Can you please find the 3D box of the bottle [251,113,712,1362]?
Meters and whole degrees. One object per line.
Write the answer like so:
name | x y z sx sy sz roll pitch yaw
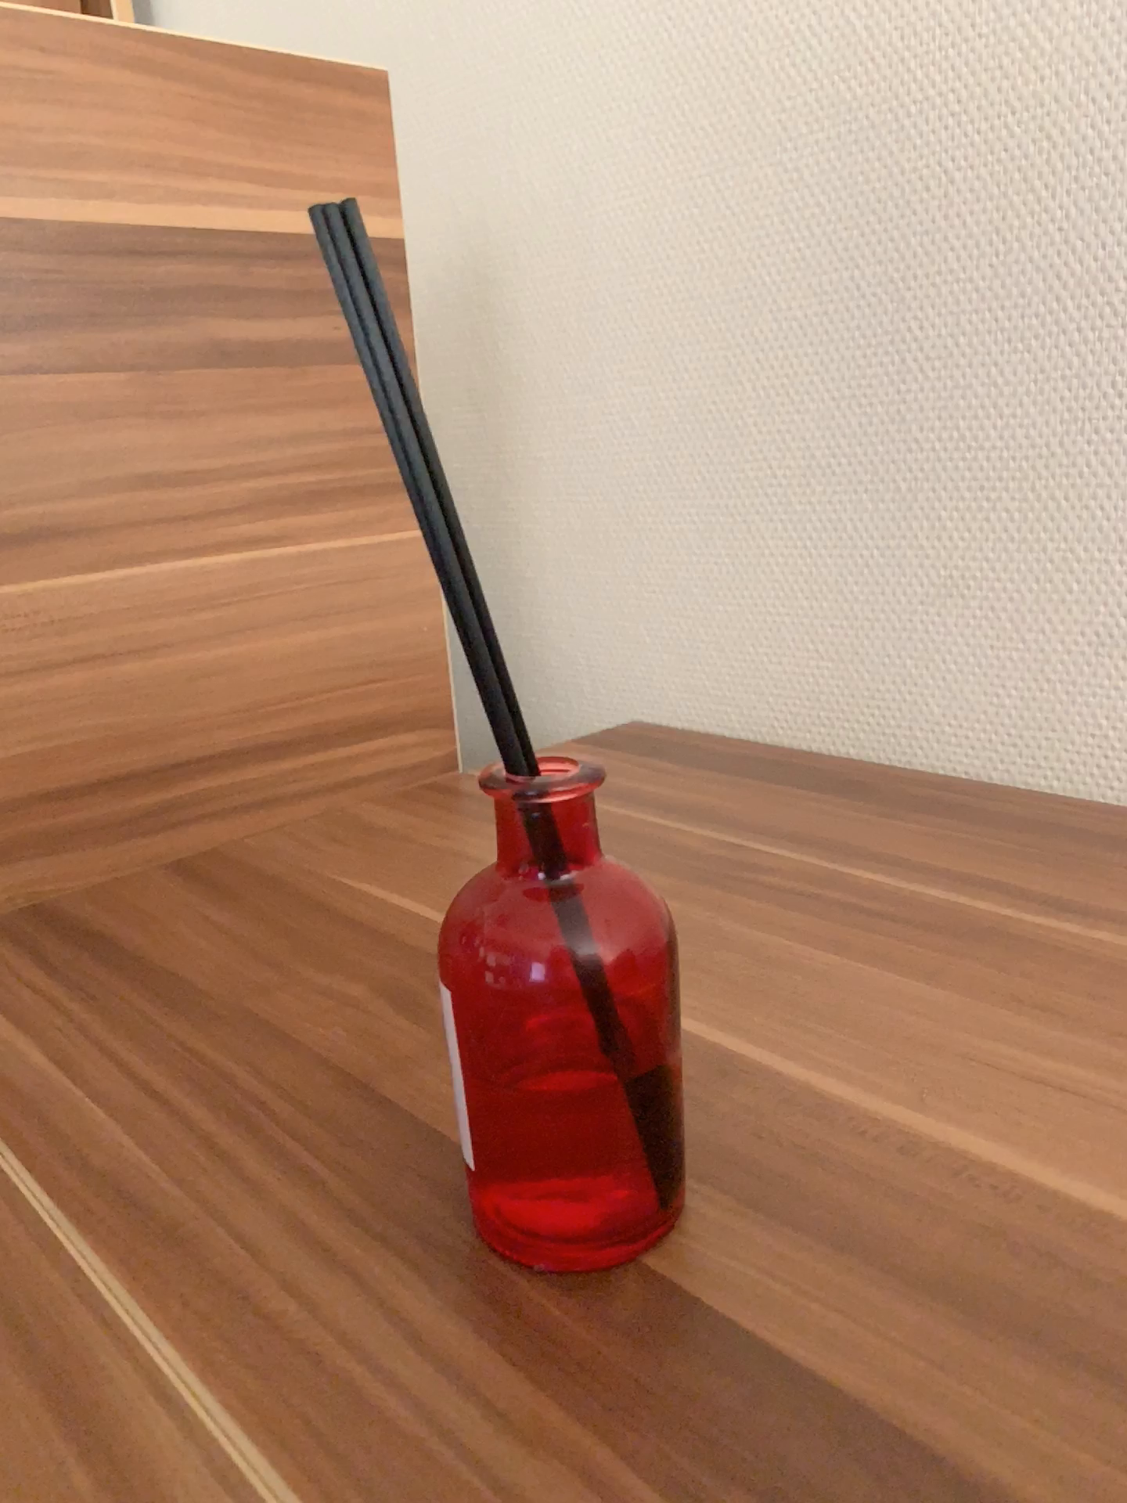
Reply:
bottle | -0.012 0.003 0.252 0.060 0.239 0.050 -15 18 -35
